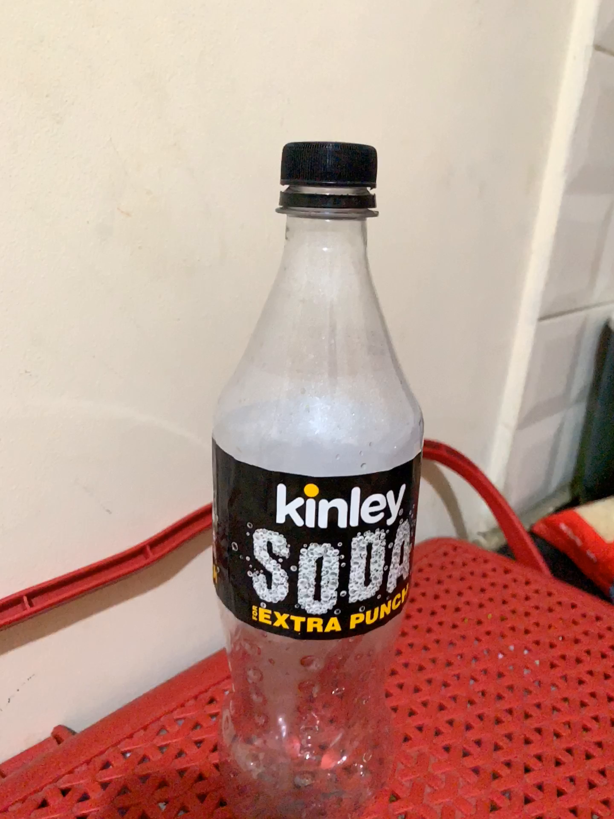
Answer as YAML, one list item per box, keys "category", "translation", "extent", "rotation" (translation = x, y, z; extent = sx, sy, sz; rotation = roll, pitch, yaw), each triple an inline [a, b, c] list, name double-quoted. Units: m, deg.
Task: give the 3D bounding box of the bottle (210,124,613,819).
- category: "bottle"
  translation: [0.014, 0.037, 0.206]
  extent: [0.080, 0.228, 0.070]
  rotation: [-2, 22, -15]
